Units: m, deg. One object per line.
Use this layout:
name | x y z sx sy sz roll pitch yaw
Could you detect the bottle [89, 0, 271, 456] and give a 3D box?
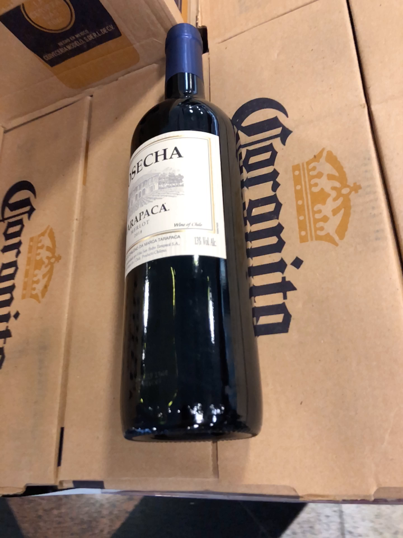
bottle | -0.016 -0.063 0.289 0.070 0.060 0.331 -10 60 11
